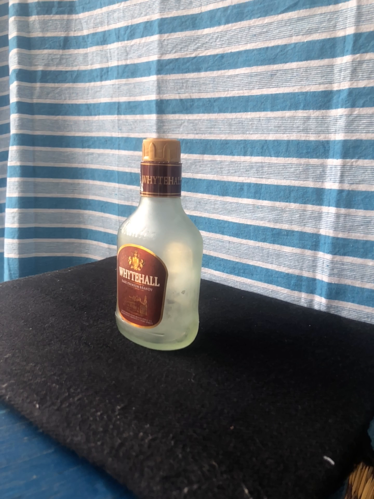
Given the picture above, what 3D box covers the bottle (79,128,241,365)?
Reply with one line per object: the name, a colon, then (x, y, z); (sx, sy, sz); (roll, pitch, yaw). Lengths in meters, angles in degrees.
bottle: (-0.020, -0.009, 0.269); (0.080, 0.130, 0.060); (15, 19, 40)
